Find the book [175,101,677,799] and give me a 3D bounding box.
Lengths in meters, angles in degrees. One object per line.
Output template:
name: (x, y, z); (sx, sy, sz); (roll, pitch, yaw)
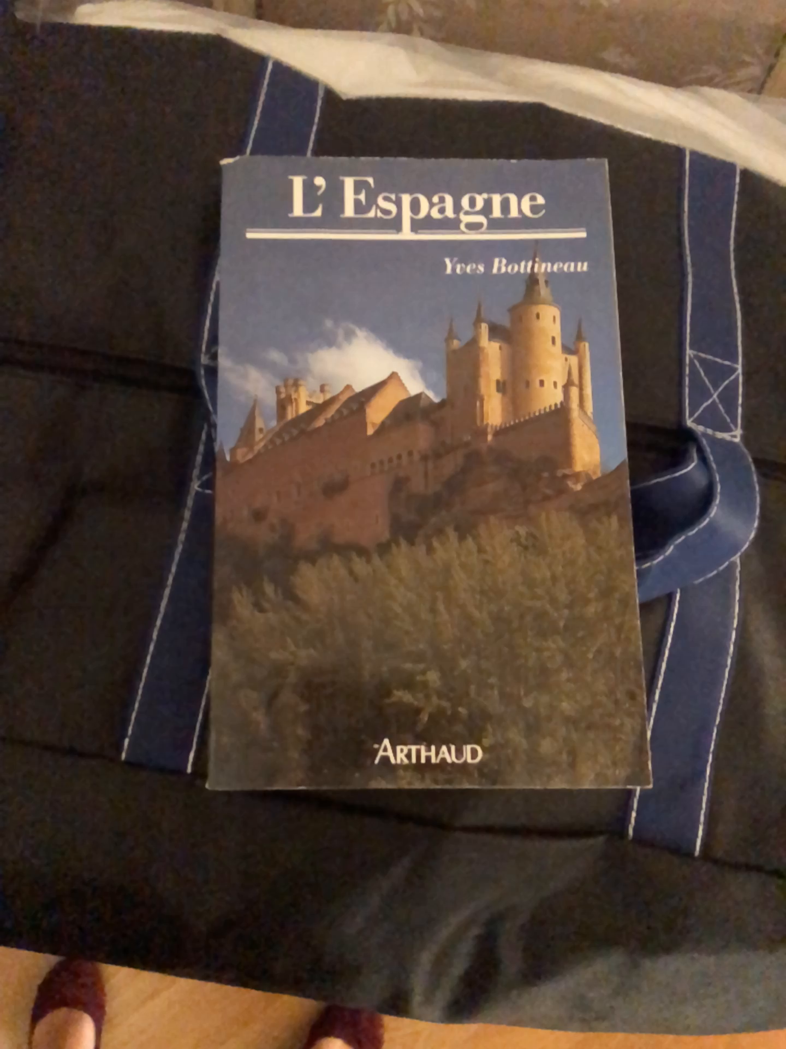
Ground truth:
book: (0.007, -0.031, 0.327); (0.170, 0.030, 0.250); (-2, 82, 1)
